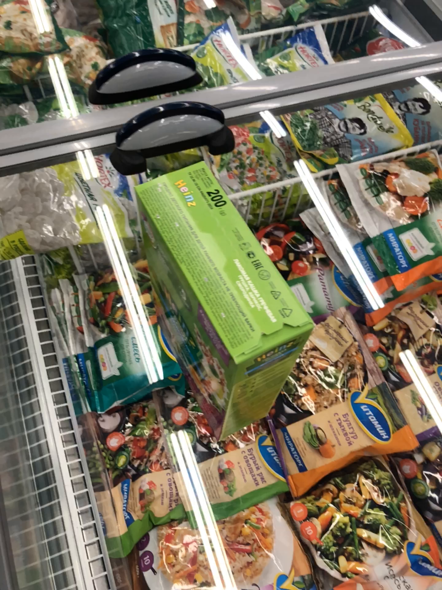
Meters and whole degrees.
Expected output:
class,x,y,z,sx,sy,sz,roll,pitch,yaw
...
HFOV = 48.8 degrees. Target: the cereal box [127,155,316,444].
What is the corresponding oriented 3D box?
class,x,y,z,sx,sy,sz,roll,pitch,yaw
cereal box,-0.009,0.020,0.361,0.050,0.199,0.130,-24,66,-15
